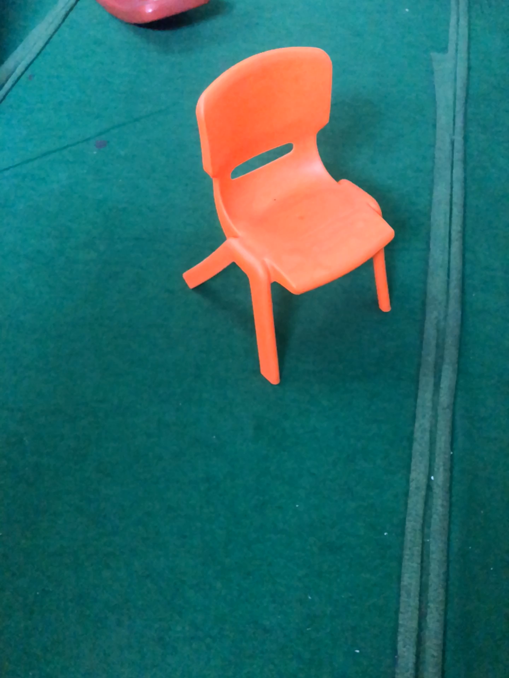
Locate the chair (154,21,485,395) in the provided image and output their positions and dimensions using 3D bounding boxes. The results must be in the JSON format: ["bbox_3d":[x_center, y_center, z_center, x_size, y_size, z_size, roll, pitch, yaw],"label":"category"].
[{"bbox_3d":[0.086,-0.239,1.091,0.360,0.479,0.391,-31,63,-22],"label":"chair"}]
